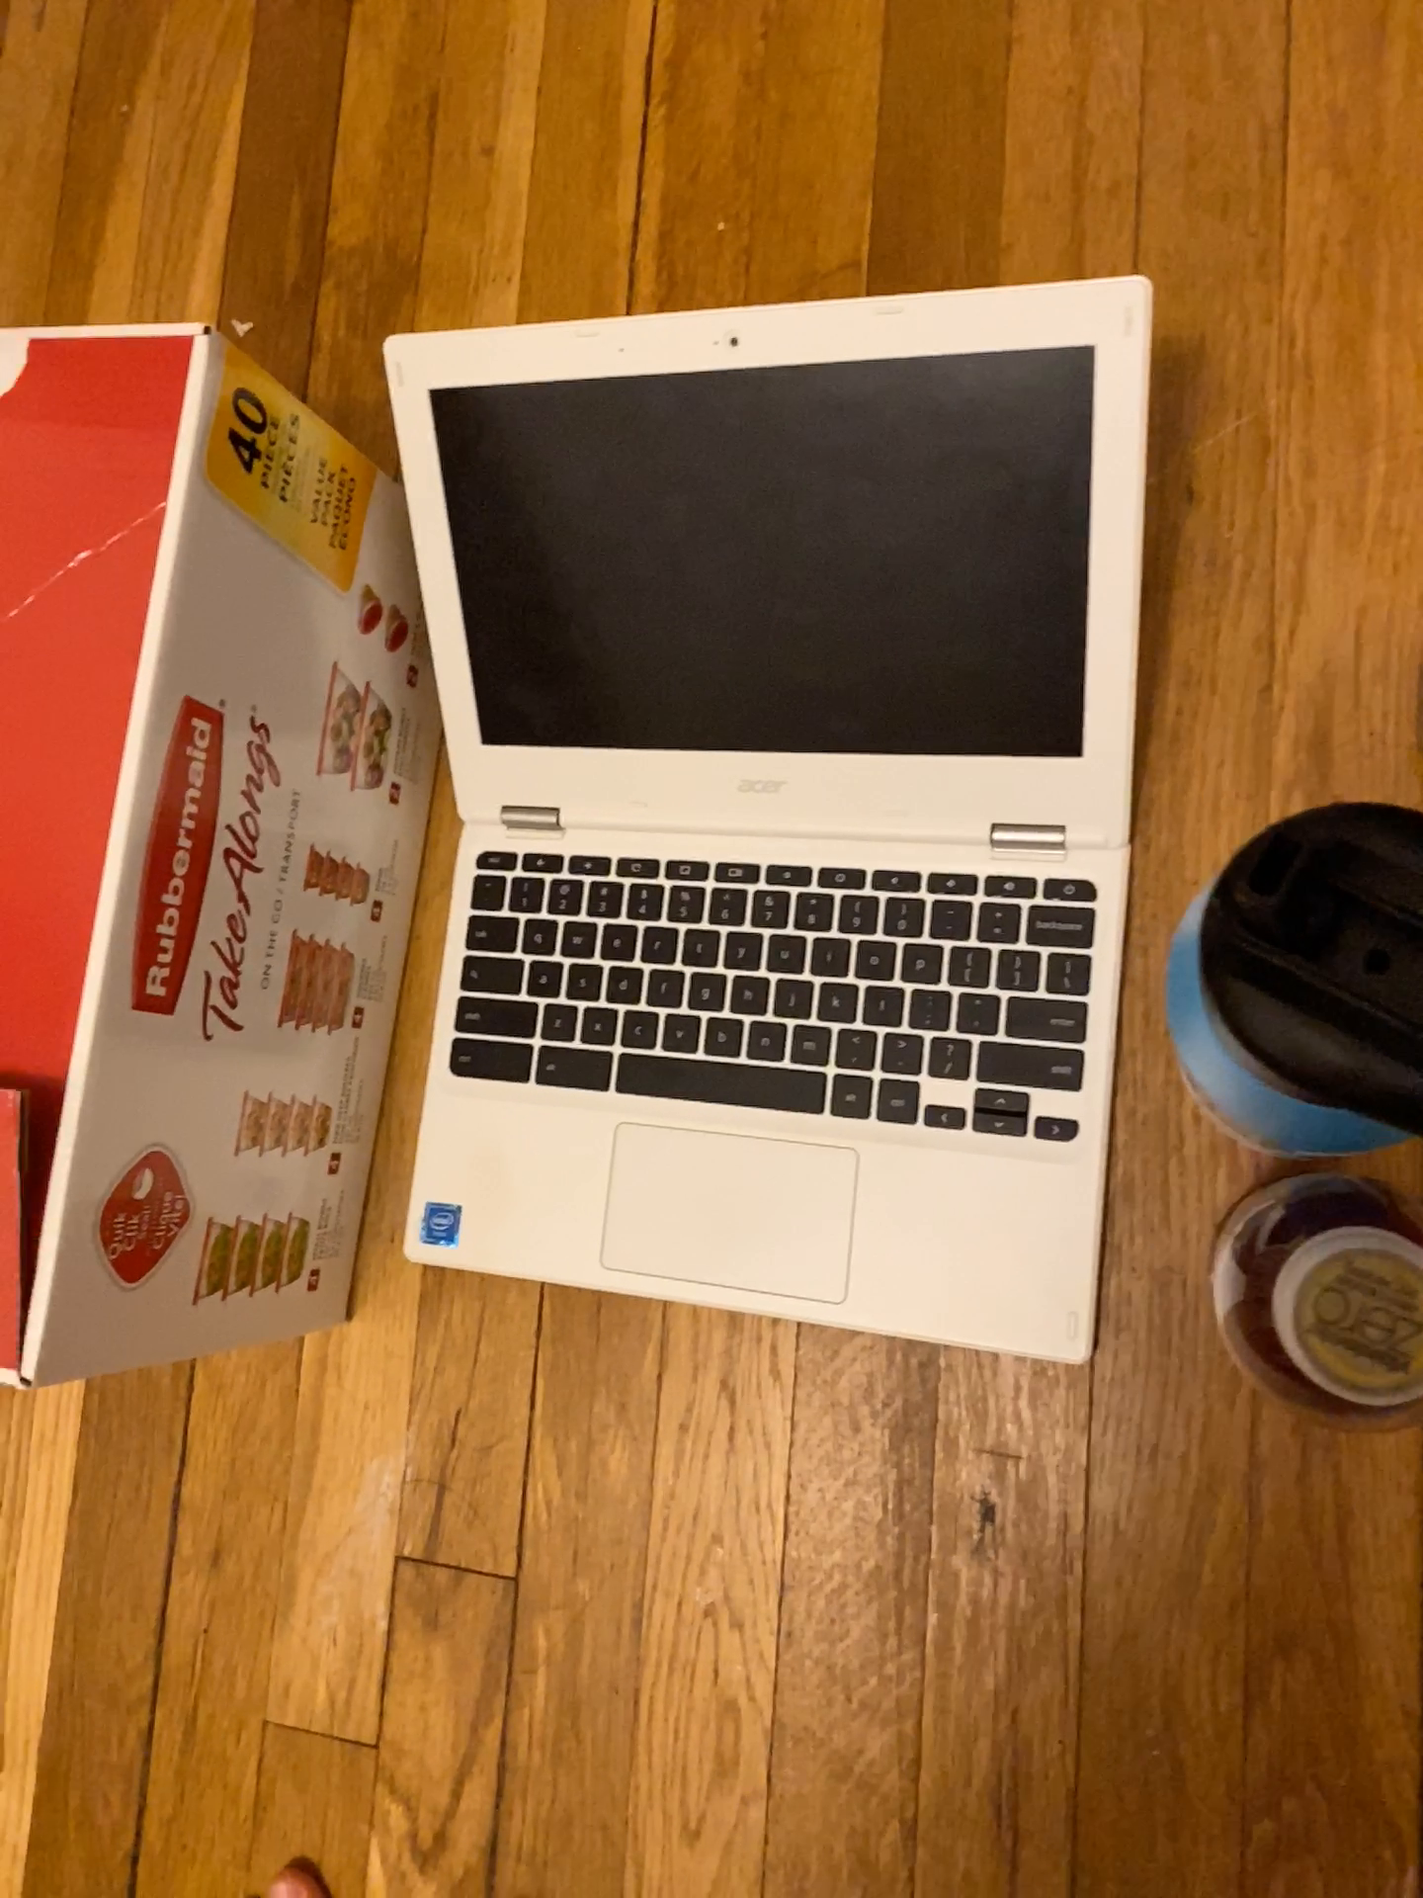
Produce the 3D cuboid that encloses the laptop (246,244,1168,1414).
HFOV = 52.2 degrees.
[{"bbox_3d":[0.004,-0.044,0.546,0.289,0.109,0.364,4,83,21],"label":"laptop"}]
